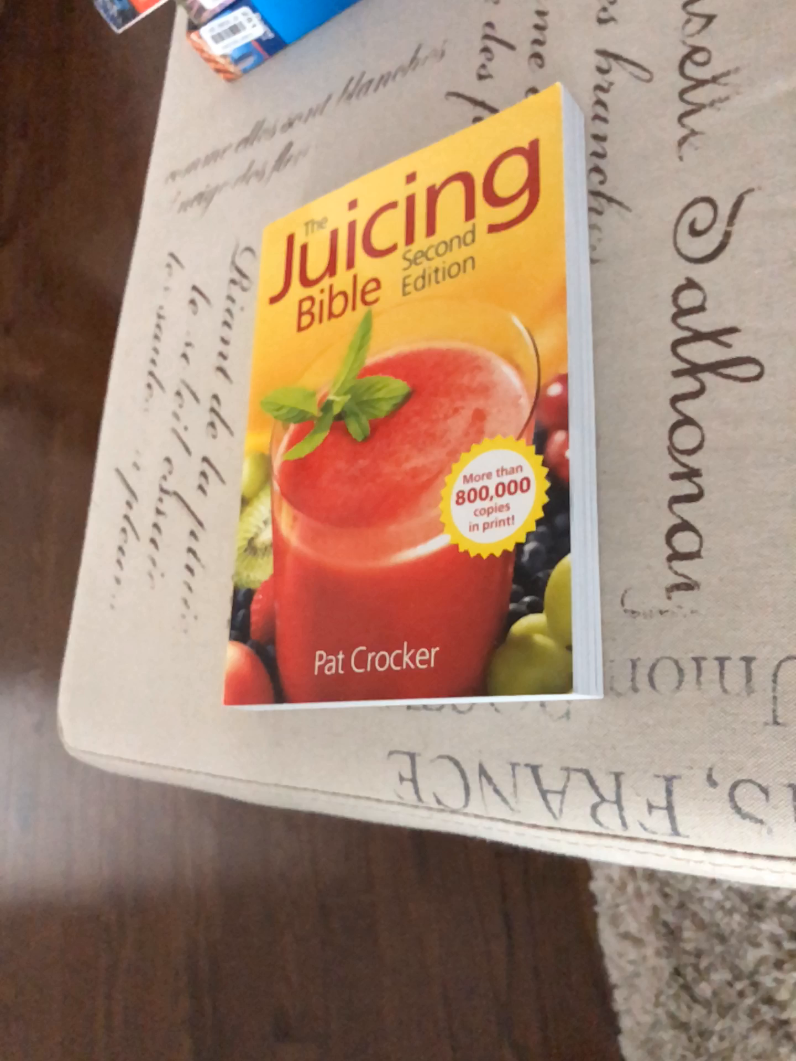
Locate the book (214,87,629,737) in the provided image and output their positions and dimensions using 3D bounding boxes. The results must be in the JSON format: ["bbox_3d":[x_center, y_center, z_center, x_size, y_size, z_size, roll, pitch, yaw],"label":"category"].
[{"bbox_3d":[0.002,-0.041,0.387,0.181,0.030,0.250,-11,69,36],"label":"book"}]
